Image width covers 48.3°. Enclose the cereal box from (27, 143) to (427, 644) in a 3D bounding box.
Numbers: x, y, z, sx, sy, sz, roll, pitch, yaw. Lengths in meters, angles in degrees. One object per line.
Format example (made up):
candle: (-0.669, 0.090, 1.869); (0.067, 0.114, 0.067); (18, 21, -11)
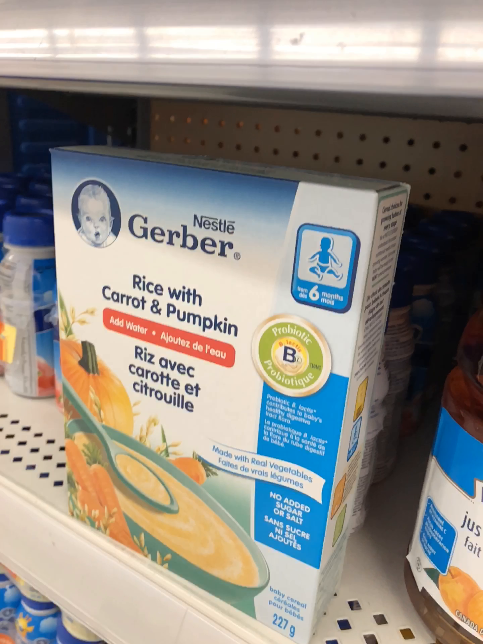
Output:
cereal box: (-0.017, 0.022, 0.240); (0.150, 0.179, 0.050); (16, 24, 26)
